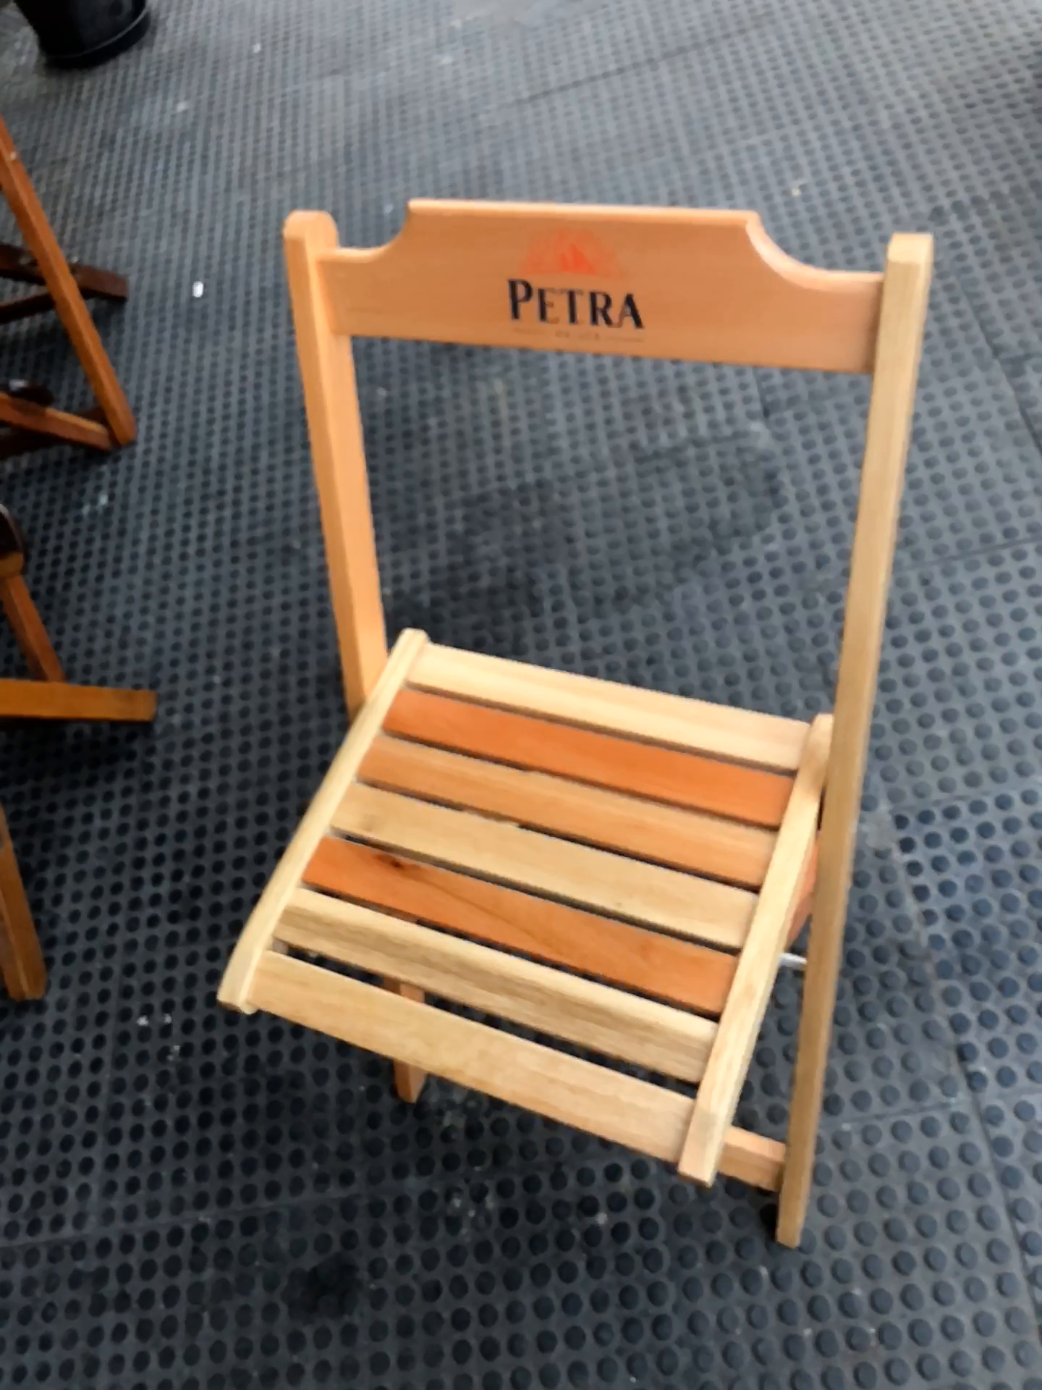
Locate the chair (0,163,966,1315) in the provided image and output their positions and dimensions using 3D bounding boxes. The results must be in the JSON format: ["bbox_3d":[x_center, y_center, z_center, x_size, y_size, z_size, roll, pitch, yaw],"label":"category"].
[{"bbox_3d":[0.020,0.088,0.895,0.481,0.757,0.501,12,63,23],"label":"chair"}]
